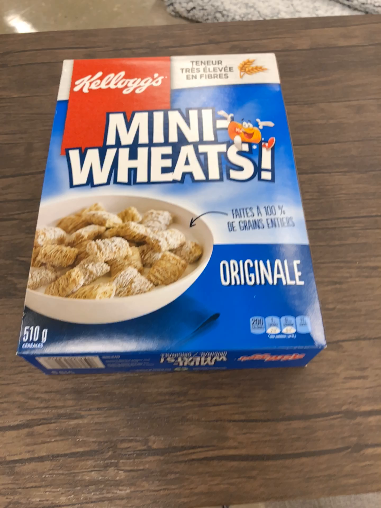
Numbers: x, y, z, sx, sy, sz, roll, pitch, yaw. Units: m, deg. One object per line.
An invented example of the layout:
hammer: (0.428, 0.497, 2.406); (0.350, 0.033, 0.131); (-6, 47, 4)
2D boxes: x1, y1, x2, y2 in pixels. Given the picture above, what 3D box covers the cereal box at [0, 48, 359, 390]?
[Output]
cereal box: (-0.015, -0.043, 0.331); (0.210, 0.060, 0.270); (-2, 61, -1)
